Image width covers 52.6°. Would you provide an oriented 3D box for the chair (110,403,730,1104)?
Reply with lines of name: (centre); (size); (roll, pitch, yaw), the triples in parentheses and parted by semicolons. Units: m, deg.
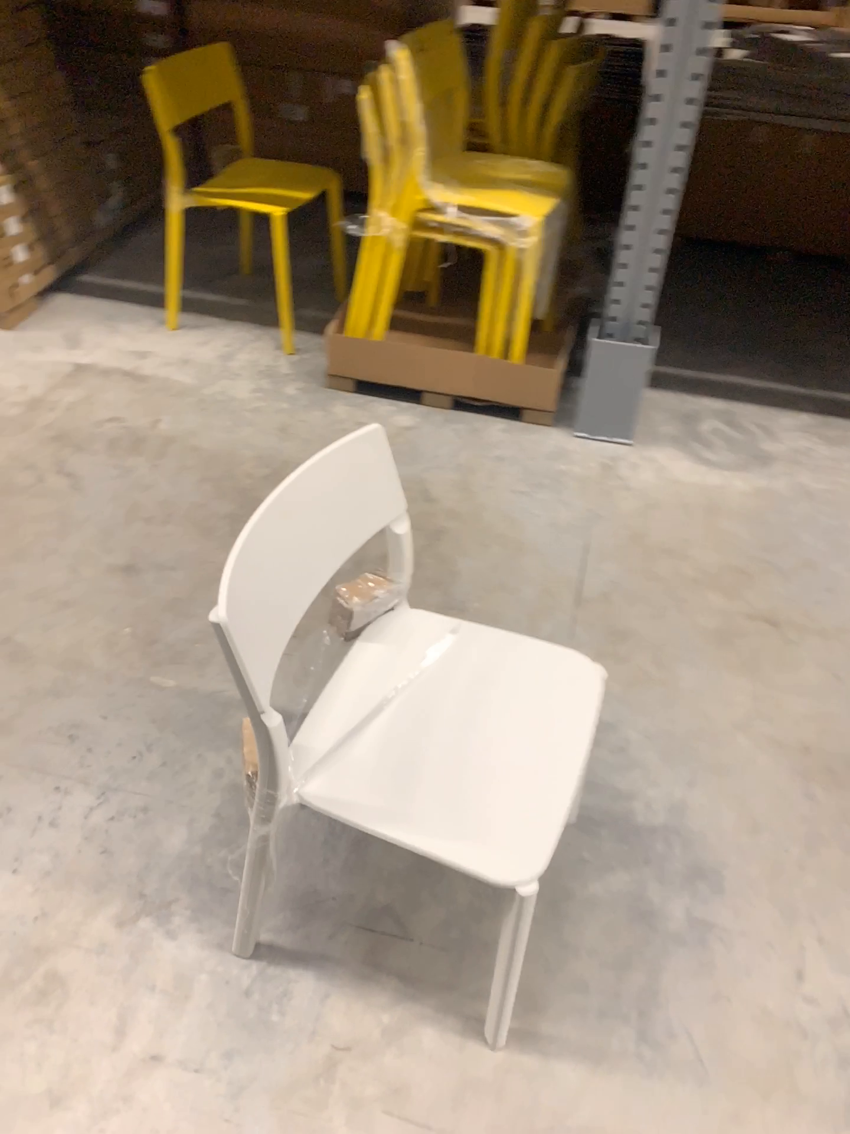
chair: (0.027, 0.234, 1.145); (0.530, 0.618, 0.522); (15, 44, 13)
